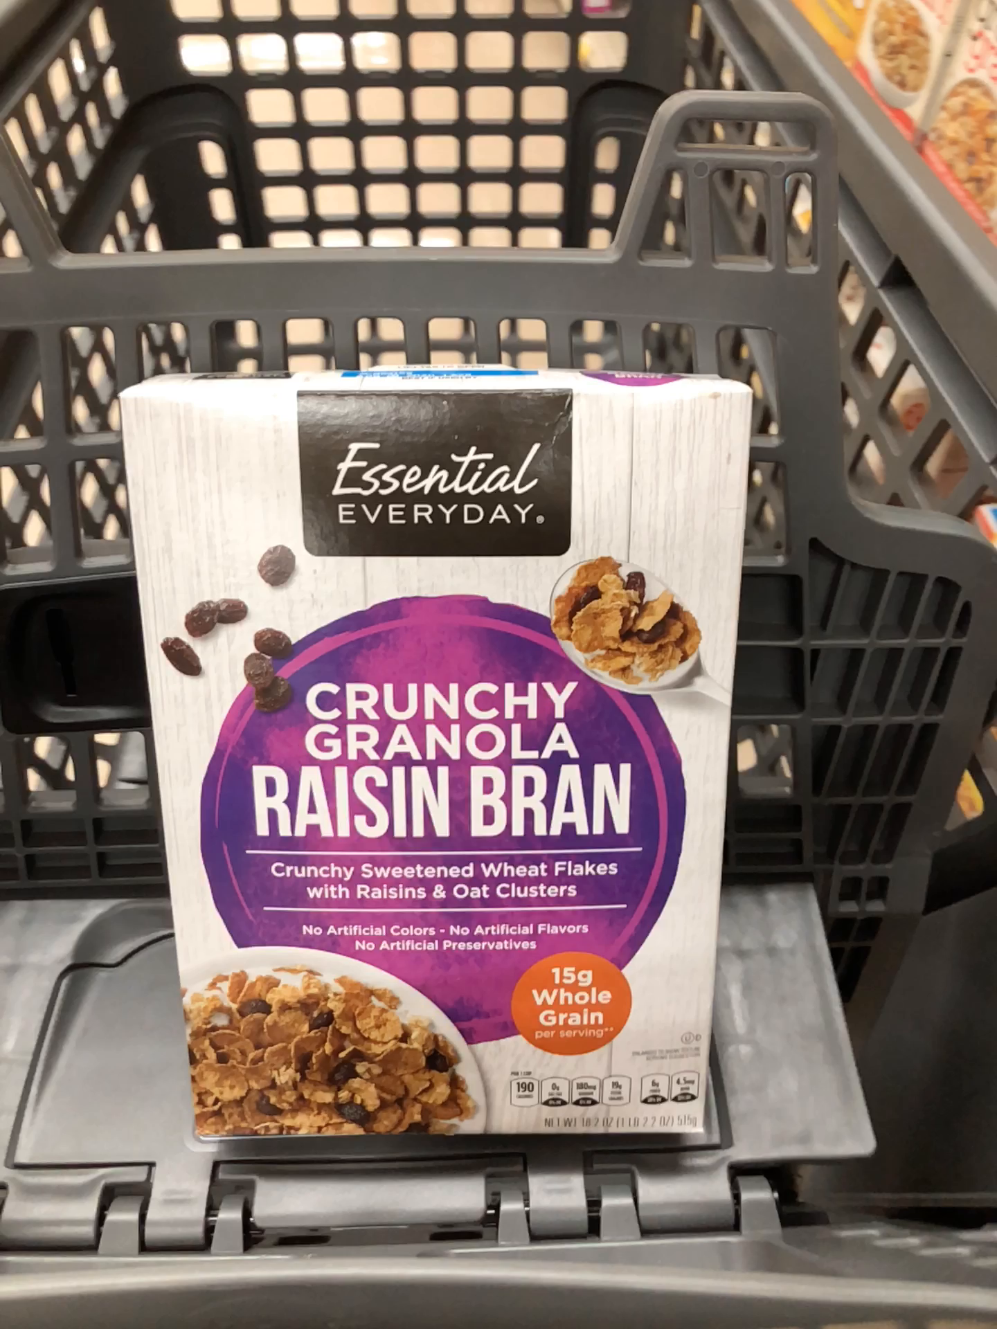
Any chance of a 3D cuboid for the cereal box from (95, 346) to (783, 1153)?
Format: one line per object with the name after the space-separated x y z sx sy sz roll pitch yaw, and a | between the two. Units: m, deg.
-0.016 0.033 0.396 0.200 0.280 0.070 -1 17 -1 | cereal box
